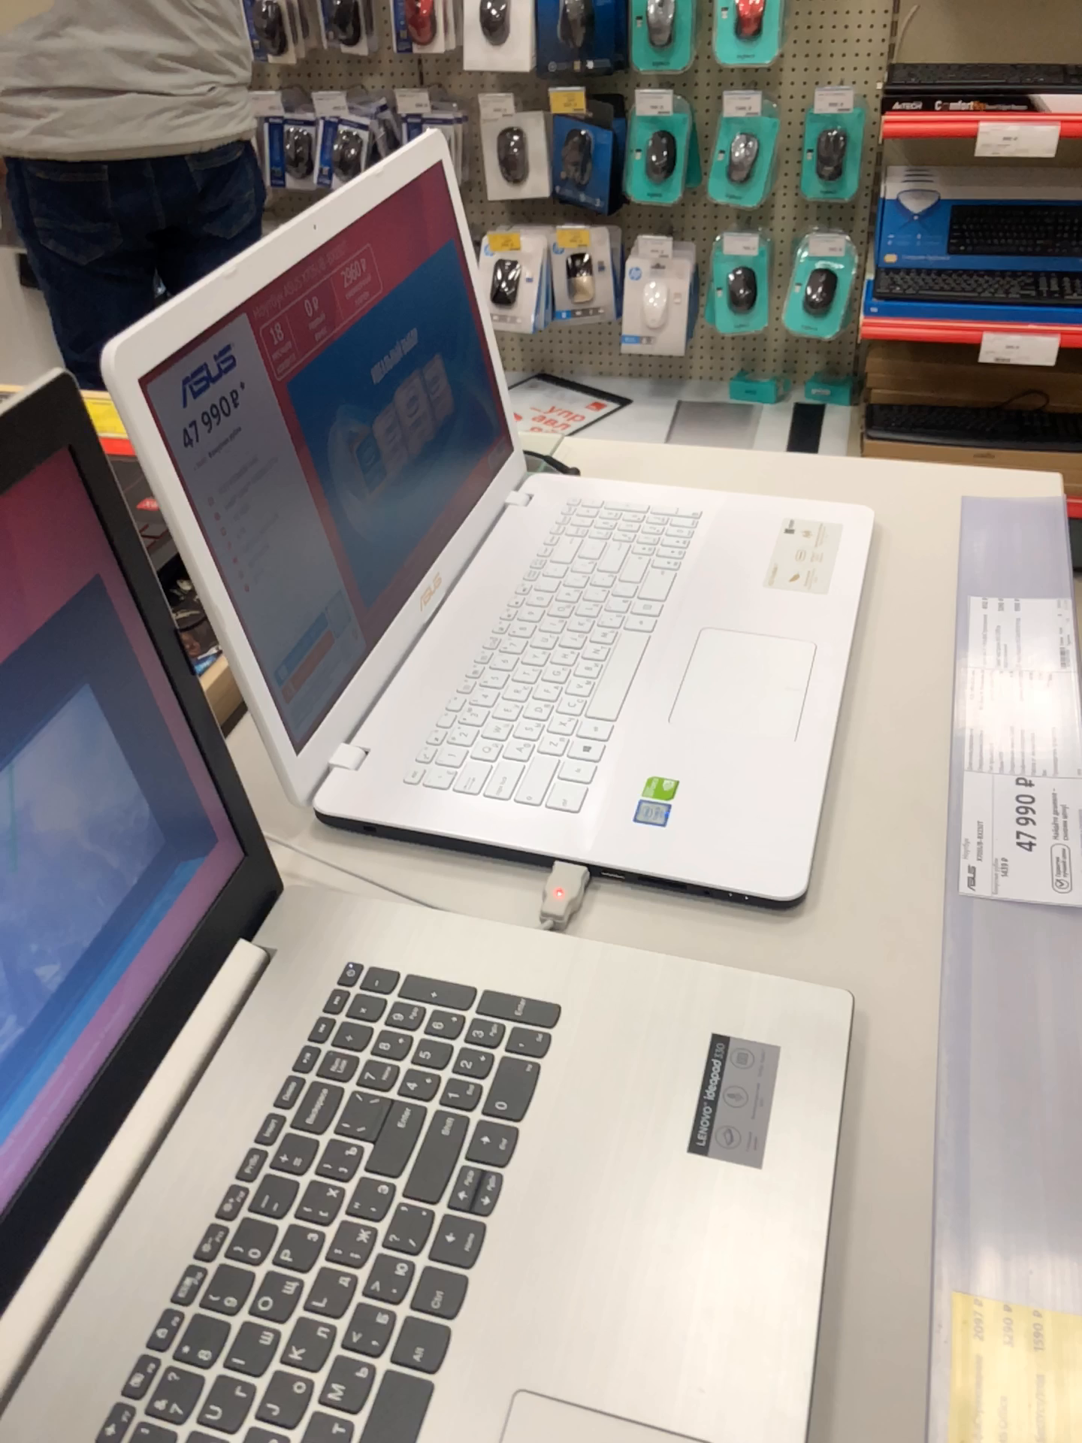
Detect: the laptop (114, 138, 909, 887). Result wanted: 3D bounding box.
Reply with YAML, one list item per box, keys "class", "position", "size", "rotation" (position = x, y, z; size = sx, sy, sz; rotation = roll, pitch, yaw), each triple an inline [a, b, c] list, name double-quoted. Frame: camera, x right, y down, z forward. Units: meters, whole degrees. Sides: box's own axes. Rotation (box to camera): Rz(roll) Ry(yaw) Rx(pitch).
- class: "laptop"
  position: [0.030, -0.152, 0.680]
  size: [0.300, 0.235, 0.388]
  rotation: [9, 39, 13]
